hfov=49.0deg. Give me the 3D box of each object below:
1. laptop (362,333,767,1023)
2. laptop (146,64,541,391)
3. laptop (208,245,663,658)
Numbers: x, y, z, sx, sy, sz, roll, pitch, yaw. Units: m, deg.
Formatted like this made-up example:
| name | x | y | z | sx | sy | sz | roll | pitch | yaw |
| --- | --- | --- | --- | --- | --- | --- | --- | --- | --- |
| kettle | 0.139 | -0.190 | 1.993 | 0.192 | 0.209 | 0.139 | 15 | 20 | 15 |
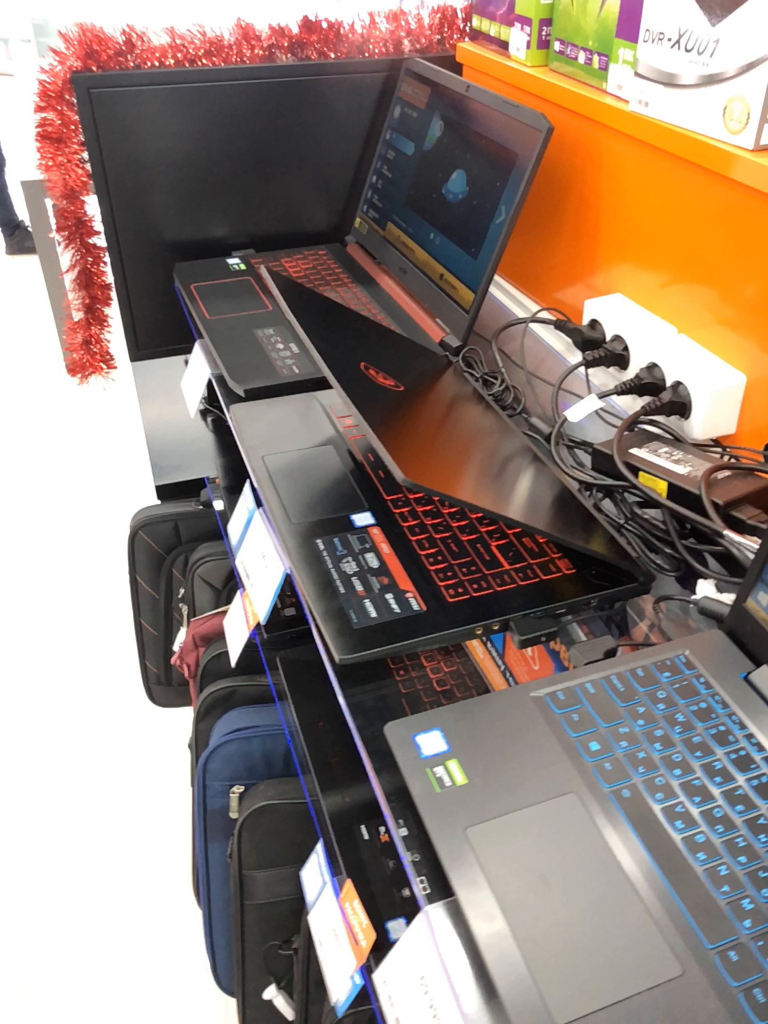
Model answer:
| name | x | y | z | sx | sy | sz | roll | pitch | yaw |
| --- | --- | --- | --- | --- | --- | --- | --- | --- | --- |
| laptop | 0.179 | 0.099 | 0.343 | 0.278 | 0.228 | 0.327 | -9 | 35 | -13 |
| laptop | -0.064 | -0.352 | 0.972 | 0.329 | 0.225 | 0.367 | -13 | 39 | -17 |
| laptop | 0.012 | -0.079 | 0.680 | 0.225 | 0.134 | 0.348 | -12 | 39 | -16 |
